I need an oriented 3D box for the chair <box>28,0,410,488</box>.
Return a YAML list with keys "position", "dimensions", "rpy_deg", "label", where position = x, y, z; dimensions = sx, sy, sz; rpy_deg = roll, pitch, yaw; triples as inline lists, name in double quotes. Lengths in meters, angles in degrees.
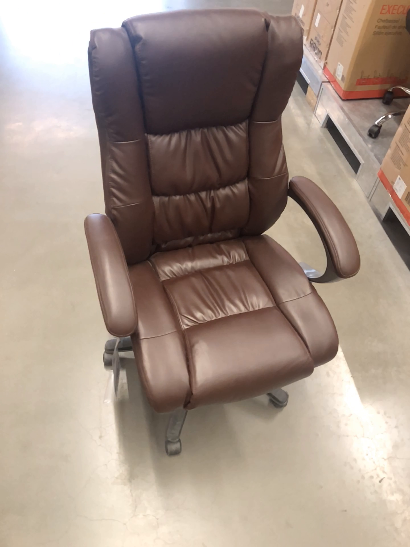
- position: [0.037, -0.021, 1.190]
  dimensions: [0.681, 1.093, 0.653]
  rpy_deg: [-11, 52, -14]
  label: "chair"
